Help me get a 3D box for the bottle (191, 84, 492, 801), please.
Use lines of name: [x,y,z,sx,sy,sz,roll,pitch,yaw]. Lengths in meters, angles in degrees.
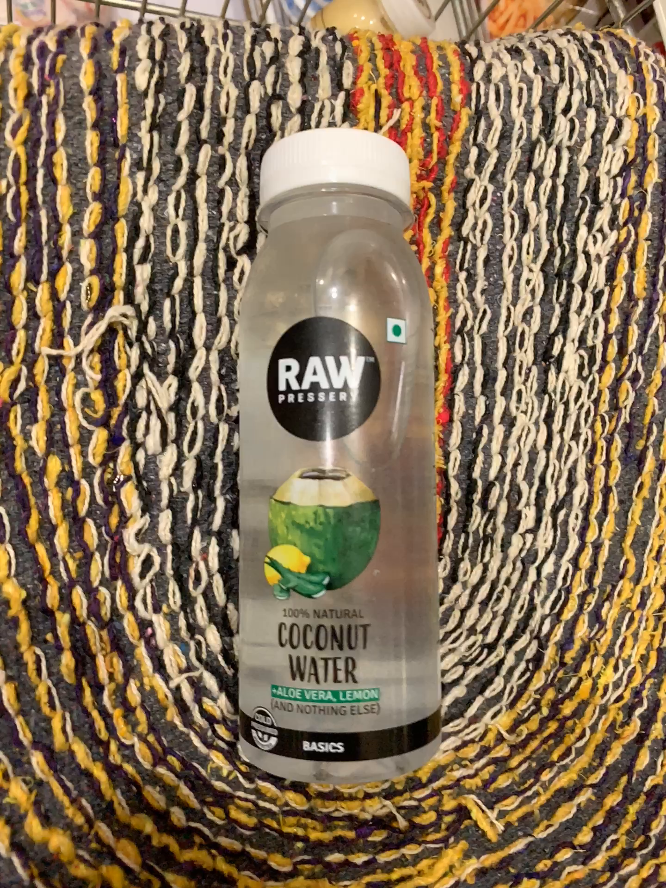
bottle: [0.002,-0.001,0.170,0.060,0.050,0.150,-1,84,2]
